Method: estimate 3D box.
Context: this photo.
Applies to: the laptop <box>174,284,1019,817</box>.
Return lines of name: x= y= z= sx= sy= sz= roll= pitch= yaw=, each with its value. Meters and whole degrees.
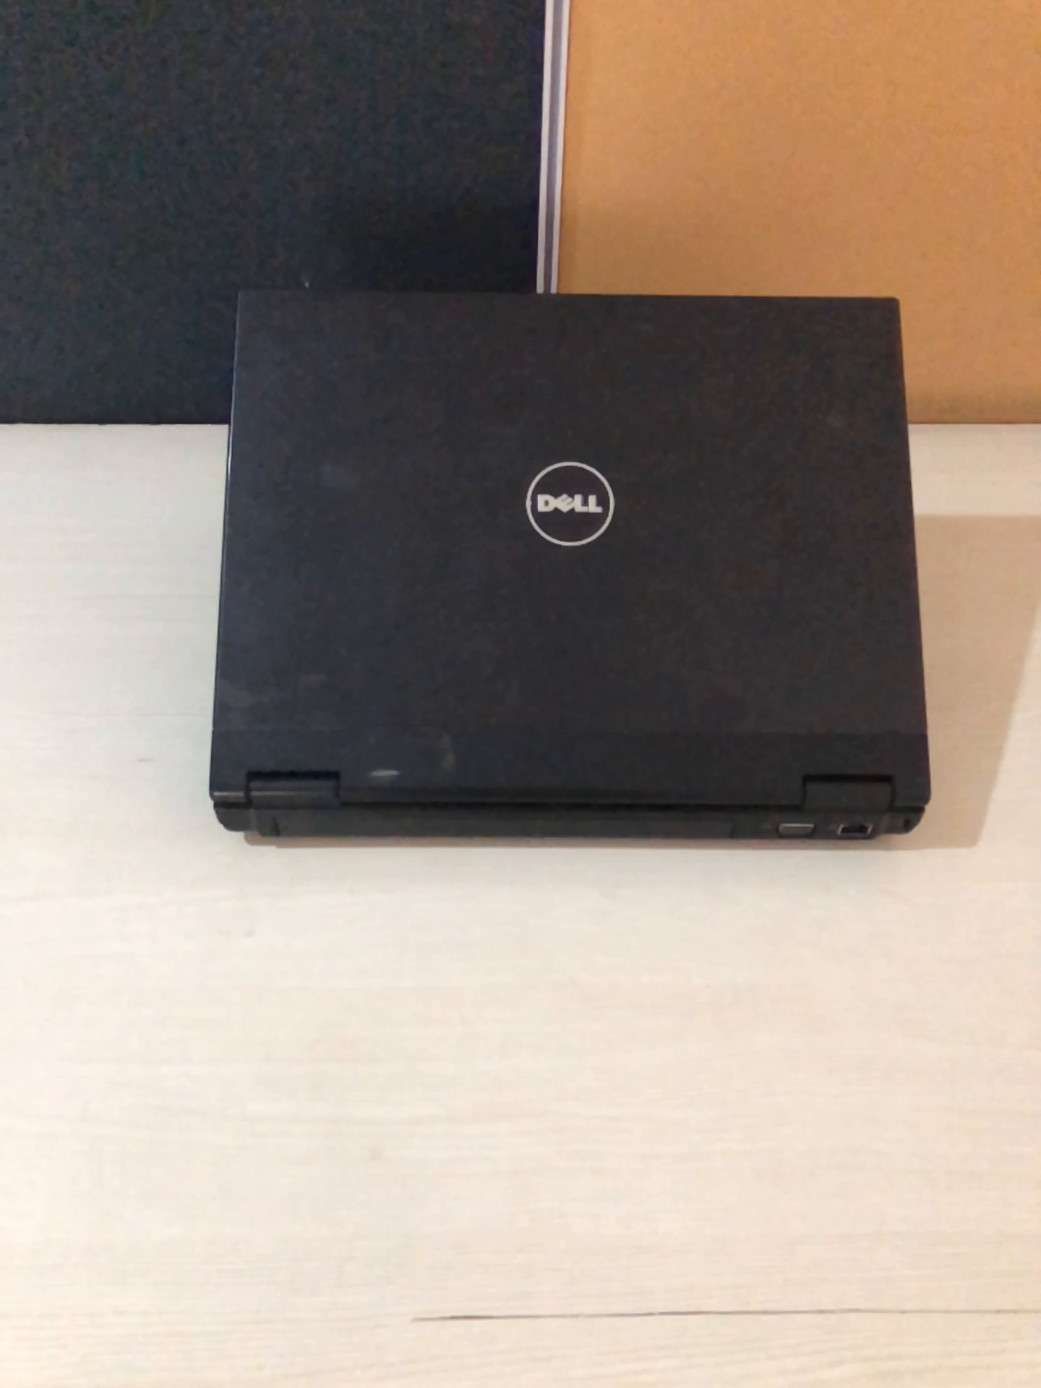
laptop: x=0.026 y=-0.073 z=0.530 sx=0.302 sy=0.126 sz=0.226 roll=0 pitch=48 yaw=-1
